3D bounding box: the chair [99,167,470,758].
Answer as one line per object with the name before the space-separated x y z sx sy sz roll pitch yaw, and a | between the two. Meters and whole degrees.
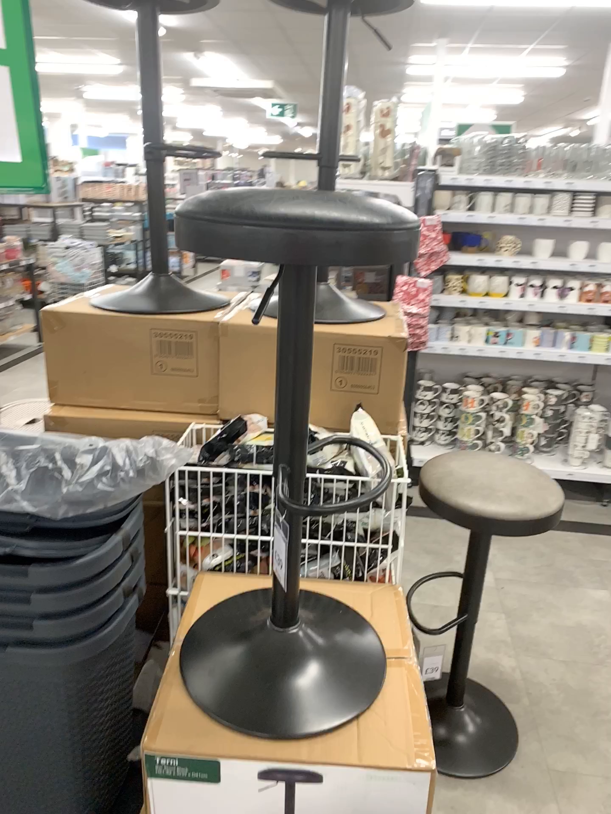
chair | -0.025 0.058 0.992 0.407 0.795 0.399 4 19 4
